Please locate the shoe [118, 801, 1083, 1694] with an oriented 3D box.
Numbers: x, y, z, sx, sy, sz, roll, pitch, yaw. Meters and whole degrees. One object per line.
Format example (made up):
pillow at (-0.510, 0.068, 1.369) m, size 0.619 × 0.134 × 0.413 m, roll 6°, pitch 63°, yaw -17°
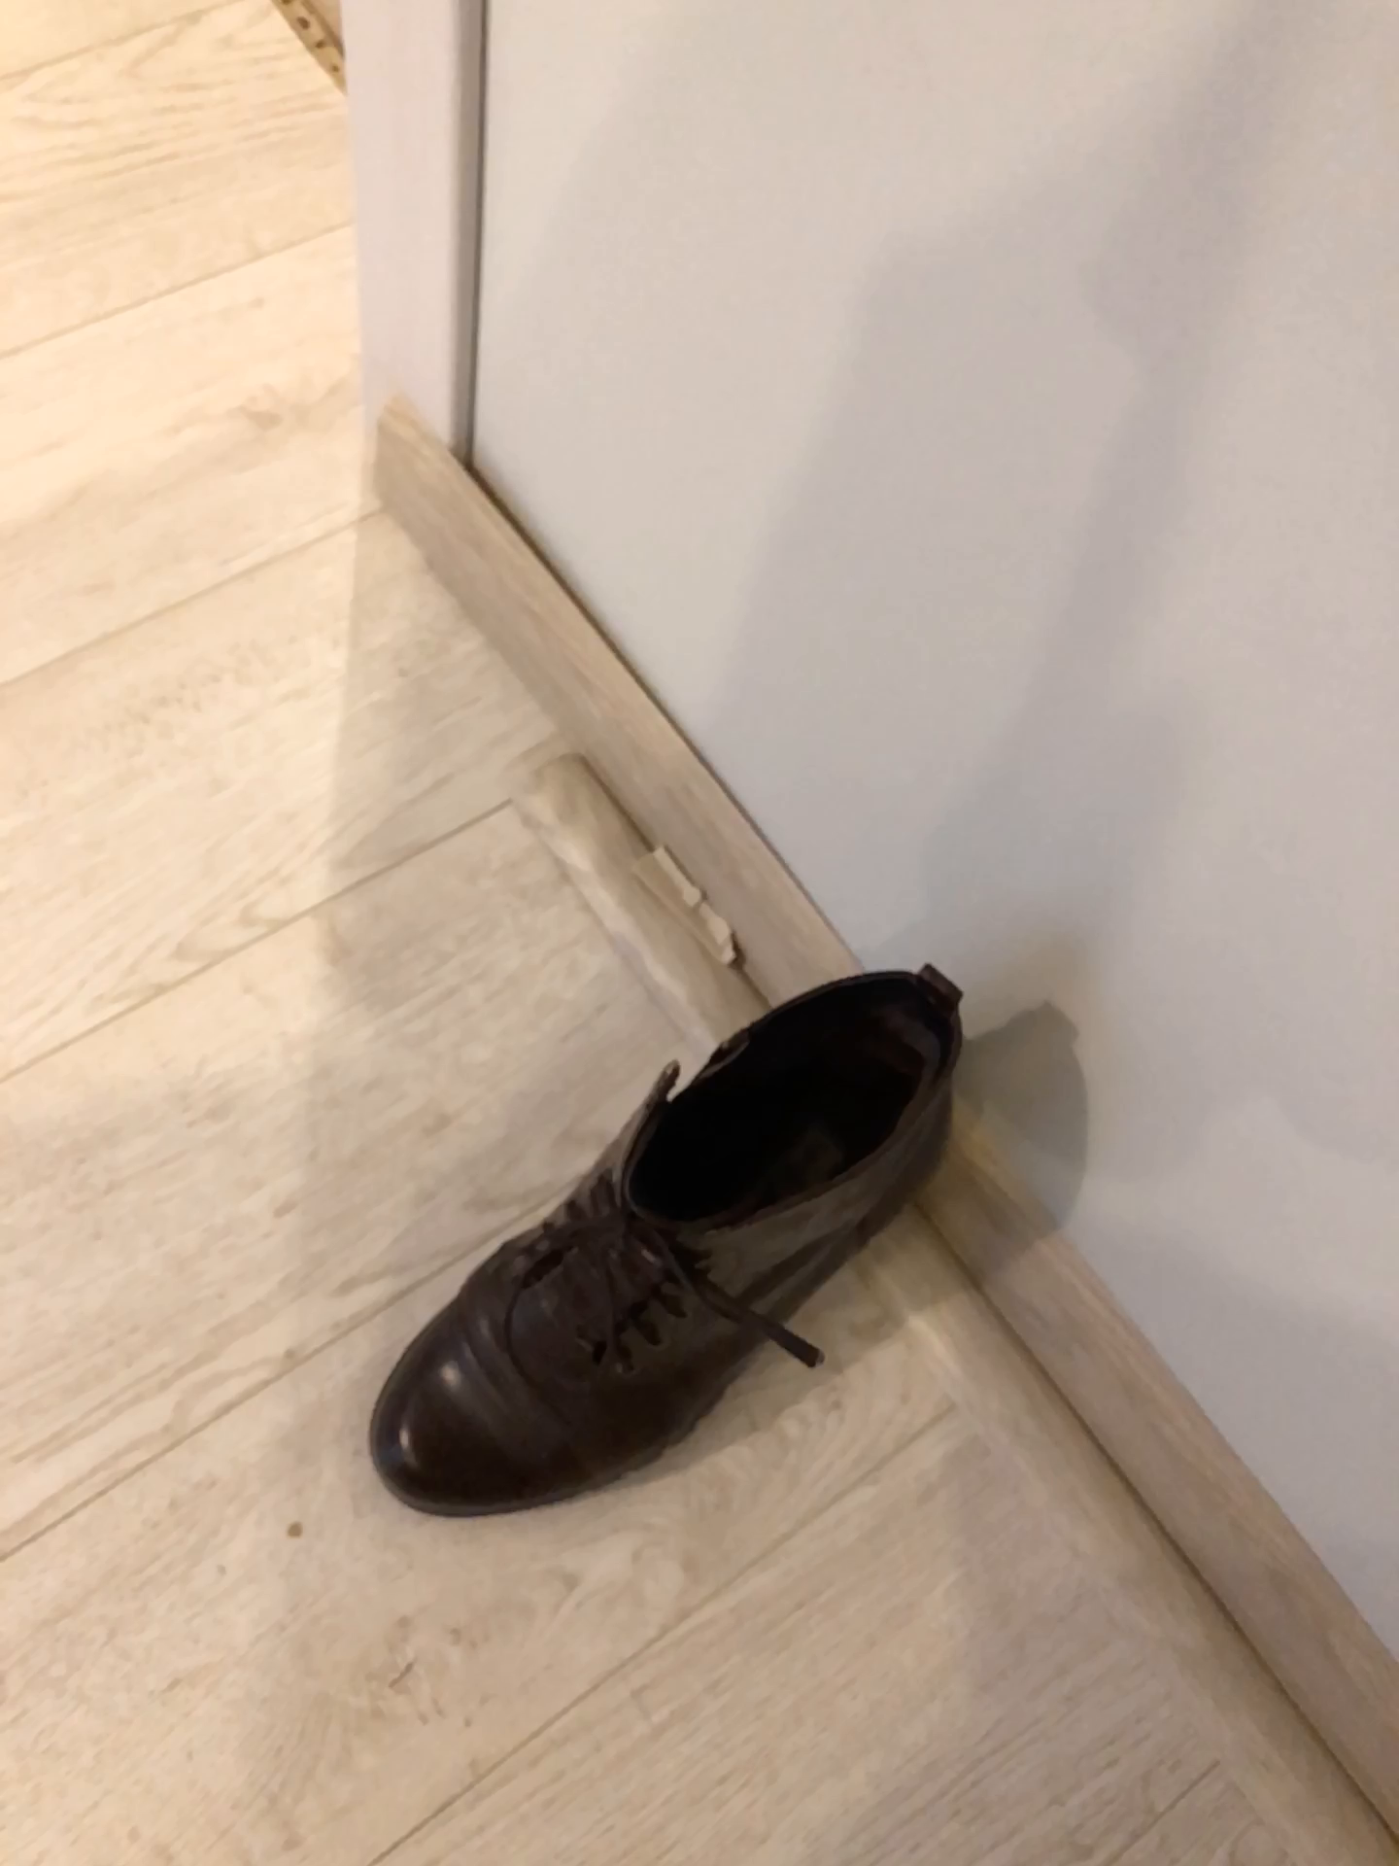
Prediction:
shoe at (-0.017, 0.099, 0.510) m, size 0.260 × 0.180 × 0.100 m, roll -38°, pitch 76°, yaw -1°
